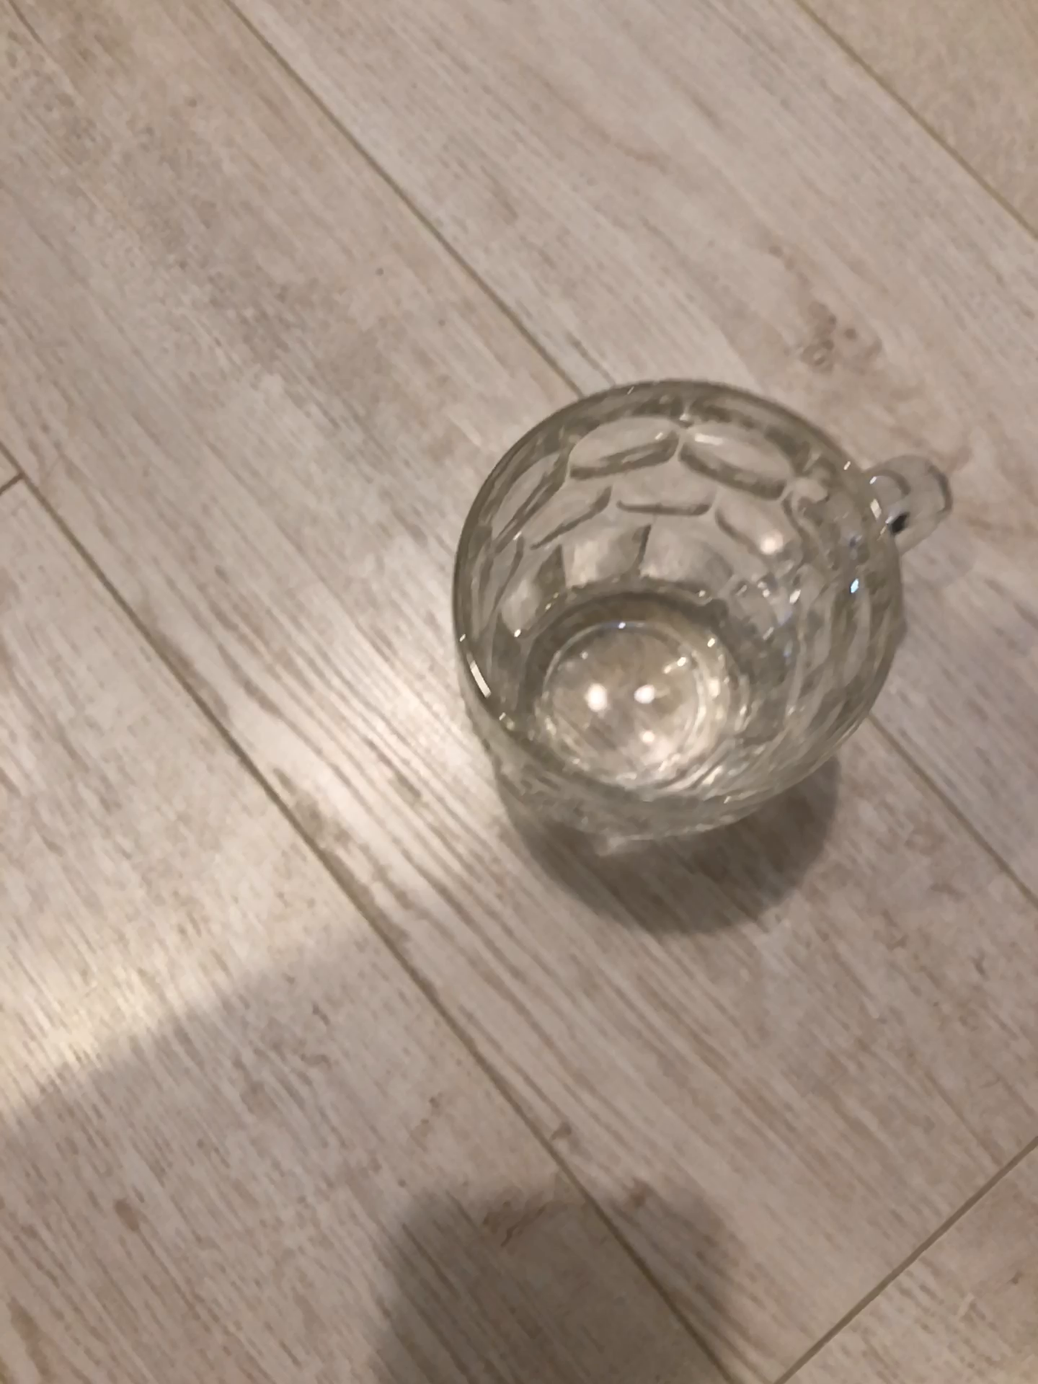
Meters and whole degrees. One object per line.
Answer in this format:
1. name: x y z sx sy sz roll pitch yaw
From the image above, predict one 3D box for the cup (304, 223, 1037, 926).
1. cup: 0.040 -0.018 0.291 0.140 0.110 0.100 -25 80 -5
